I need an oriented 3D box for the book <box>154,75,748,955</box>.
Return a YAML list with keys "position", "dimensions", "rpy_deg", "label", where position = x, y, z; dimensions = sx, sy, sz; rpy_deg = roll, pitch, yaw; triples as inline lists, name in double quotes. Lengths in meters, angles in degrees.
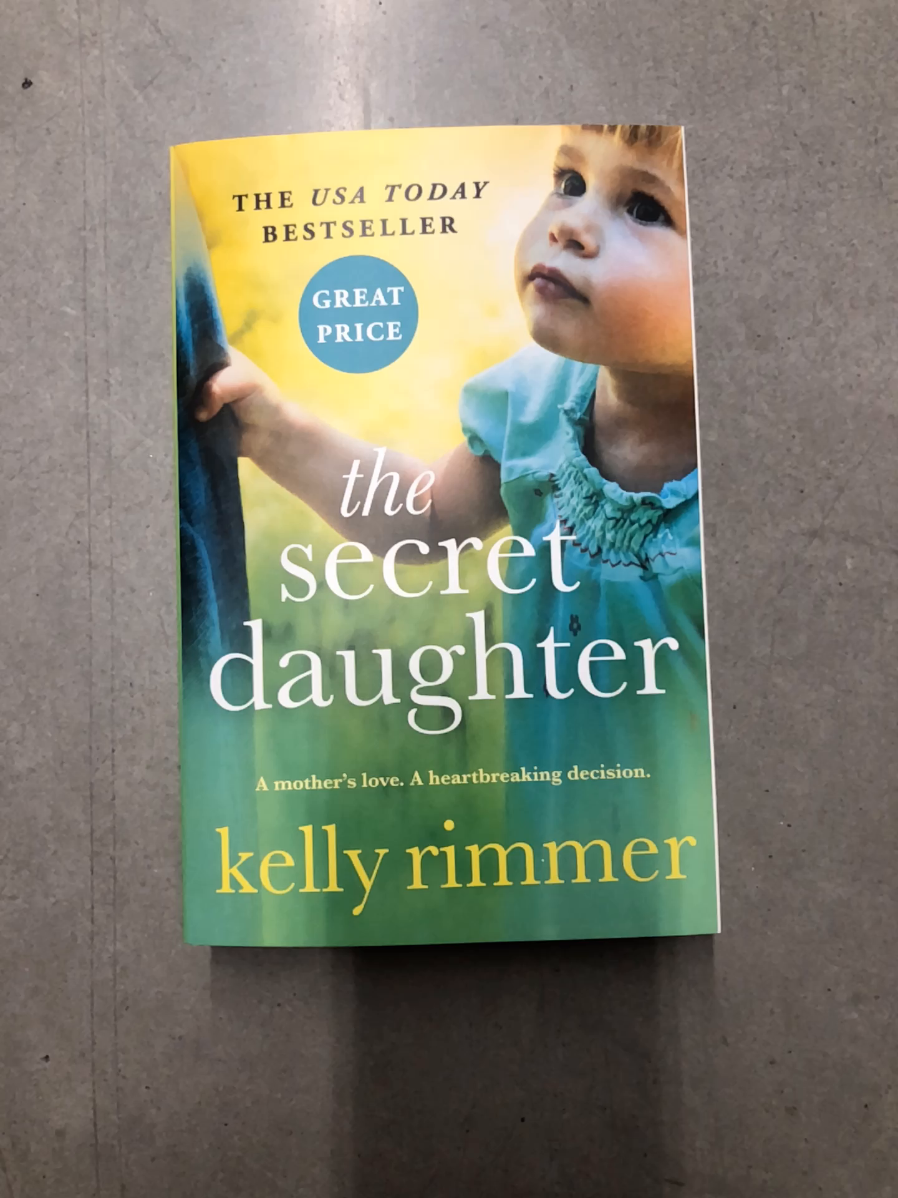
- position: [-0.001, -0.020, 0.255]
  dimensions: [0.140, 0.030, 0.210]
  rpy_deg: [-1, 88, 2]
  label: "book"
